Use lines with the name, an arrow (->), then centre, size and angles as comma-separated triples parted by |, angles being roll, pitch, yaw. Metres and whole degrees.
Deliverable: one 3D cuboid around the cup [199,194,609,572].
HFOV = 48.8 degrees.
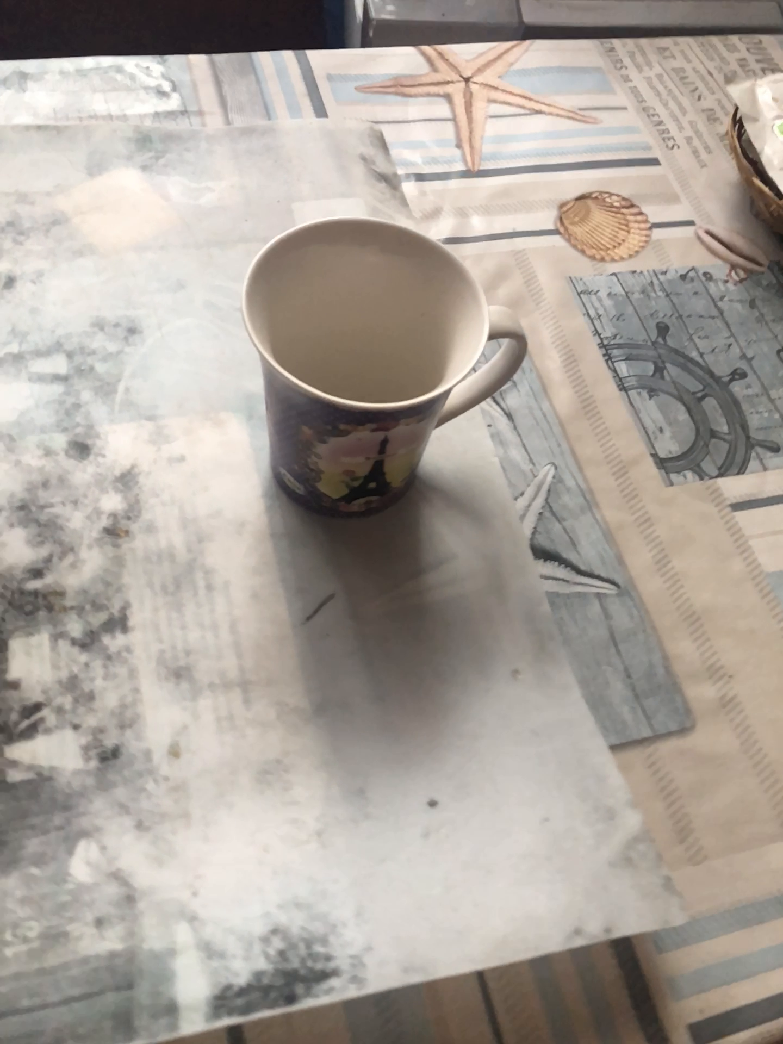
cup -> -0.002, -0.055, 0.338 | 0.120, 0.085, 0.090 | -16, 63, -17
